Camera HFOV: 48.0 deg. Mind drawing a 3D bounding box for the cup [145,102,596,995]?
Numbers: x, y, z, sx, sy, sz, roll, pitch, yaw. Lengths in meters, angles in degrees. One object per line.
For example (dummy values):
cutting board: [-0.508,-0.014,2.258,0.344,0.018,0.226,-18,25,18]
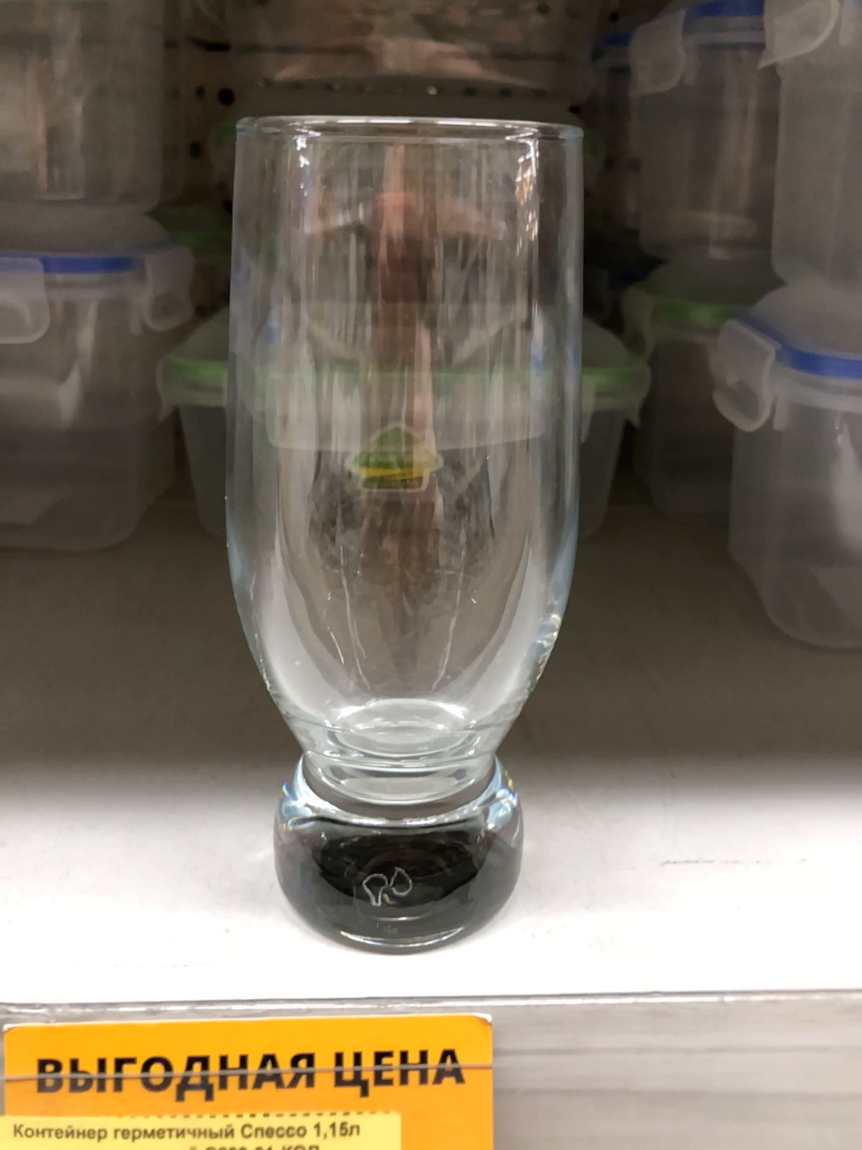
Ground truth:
cup: [-0.008,-0.005,0.182,0.057,0.146,0.069,3,23,3]
